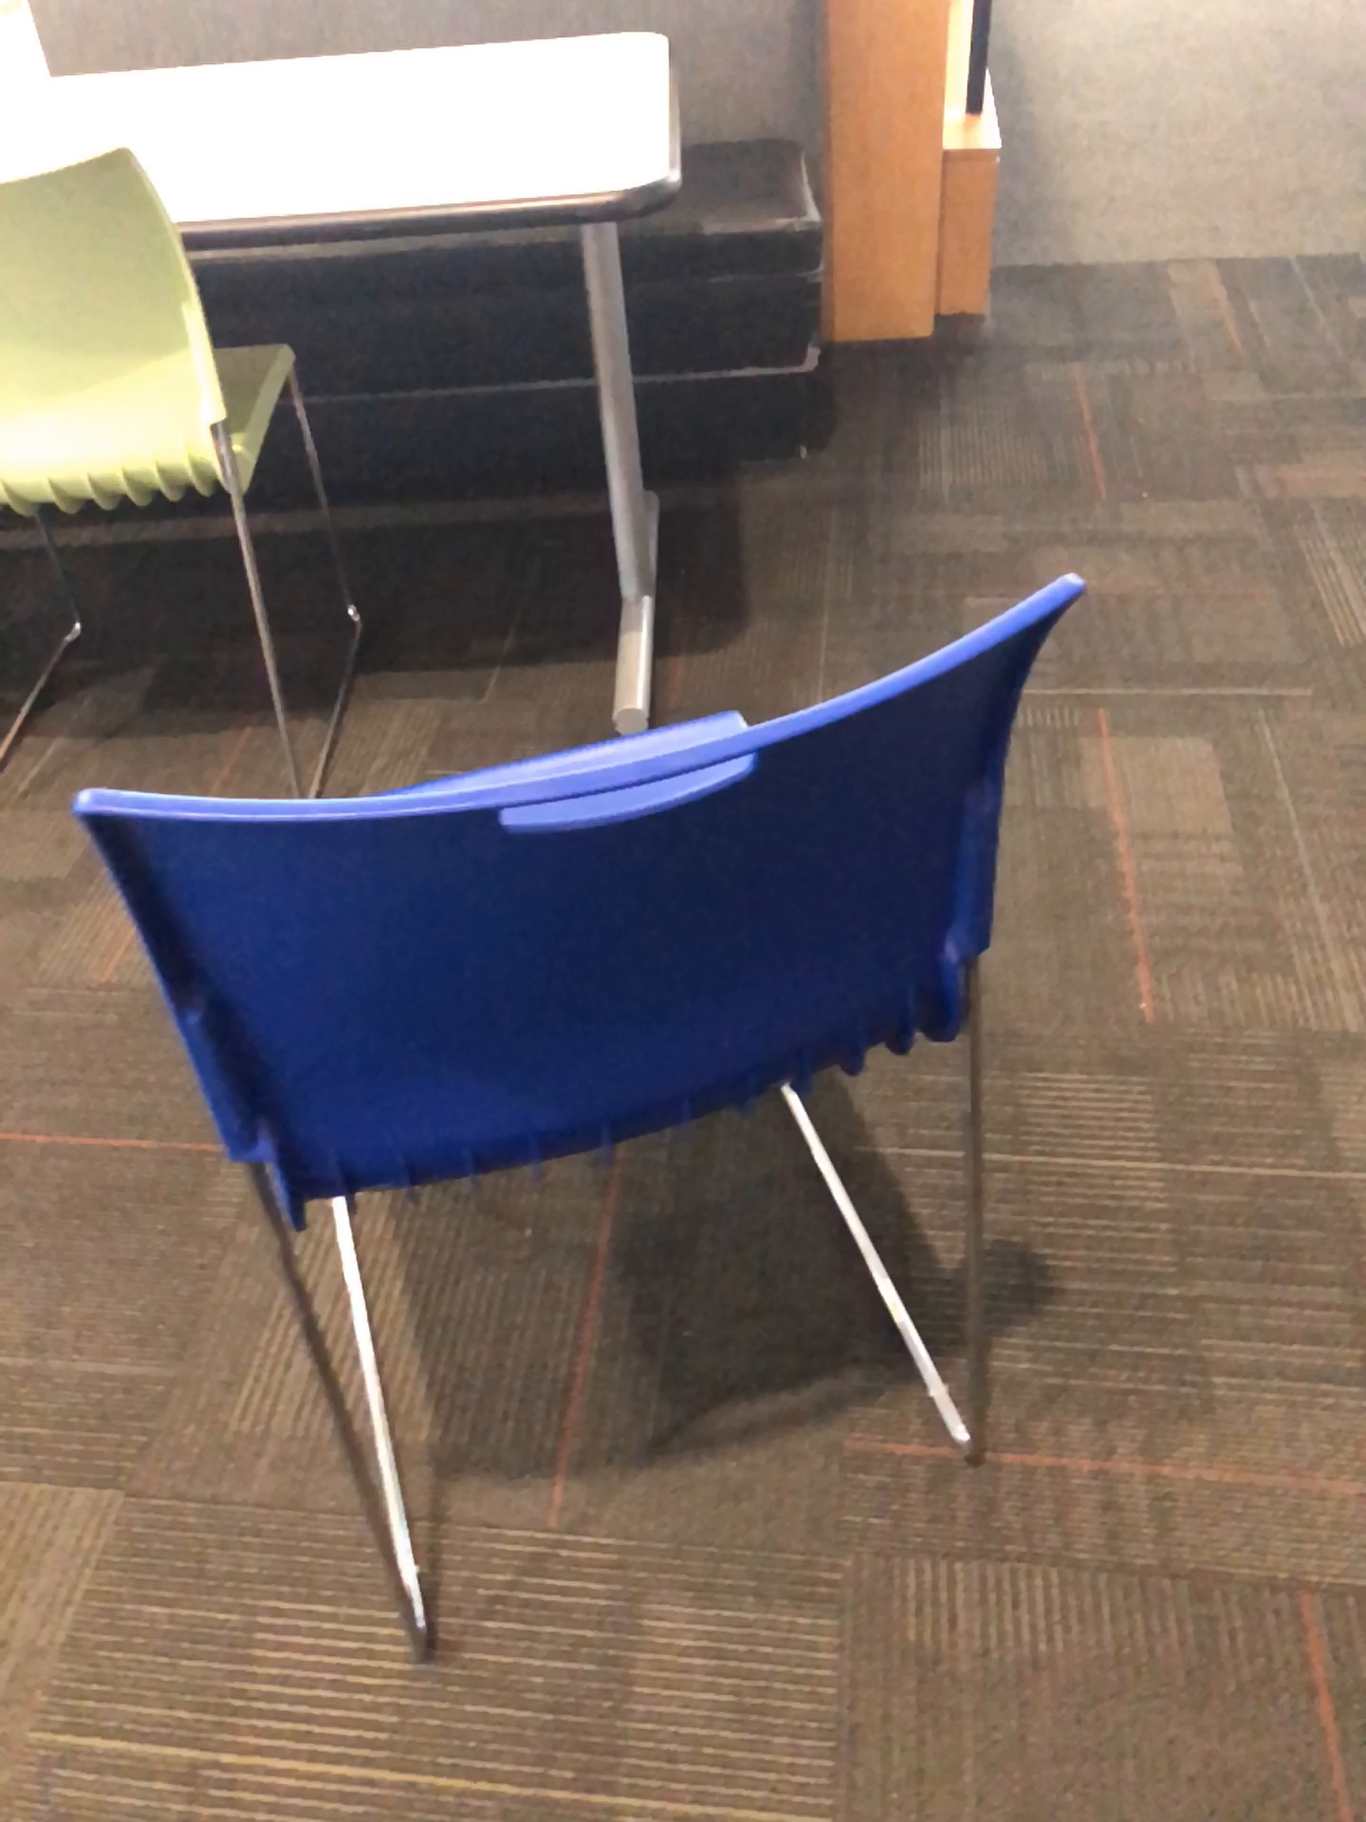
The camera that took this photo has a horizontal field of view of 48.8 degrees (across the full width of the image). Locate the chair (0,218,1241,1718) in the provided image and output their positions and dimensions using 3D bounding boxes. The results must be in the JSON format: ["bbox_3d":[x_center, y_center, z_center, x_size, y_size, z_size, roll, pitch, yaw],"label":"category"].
[{"bbox_3d":[-0.092,0.027,1.081,0.580,0.757,0.593,-14,41,-11],"label":"chair"}]
